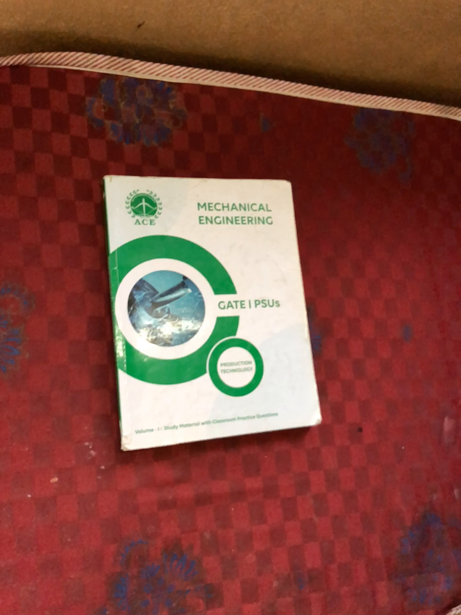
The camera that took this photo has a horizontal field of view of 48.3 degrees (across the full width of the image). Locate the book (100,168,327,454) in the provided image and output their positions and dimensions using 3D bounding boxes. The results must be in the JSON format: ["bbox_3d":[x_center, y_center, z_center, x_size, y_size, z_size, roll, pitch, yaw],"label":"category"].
[{"bbox_3d":[-0.018,-0.006,0.540,0.210,0.030,0.280,-3,79,-19],"label":"book"}]
